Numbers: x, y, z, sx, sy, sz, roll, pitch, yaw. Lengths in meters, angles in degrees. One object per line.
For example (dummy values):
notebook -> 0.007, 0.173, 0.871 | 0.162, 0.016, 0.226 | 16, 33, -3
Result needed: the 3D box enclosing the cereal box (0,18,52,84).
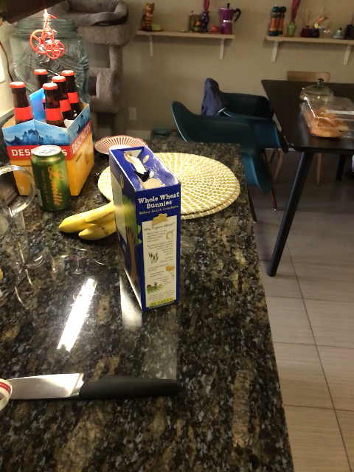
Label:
cereal box -> -2.589, -3.124, 6.453 | 0.751, 0.913, 0.755 | -4, 33, -10
